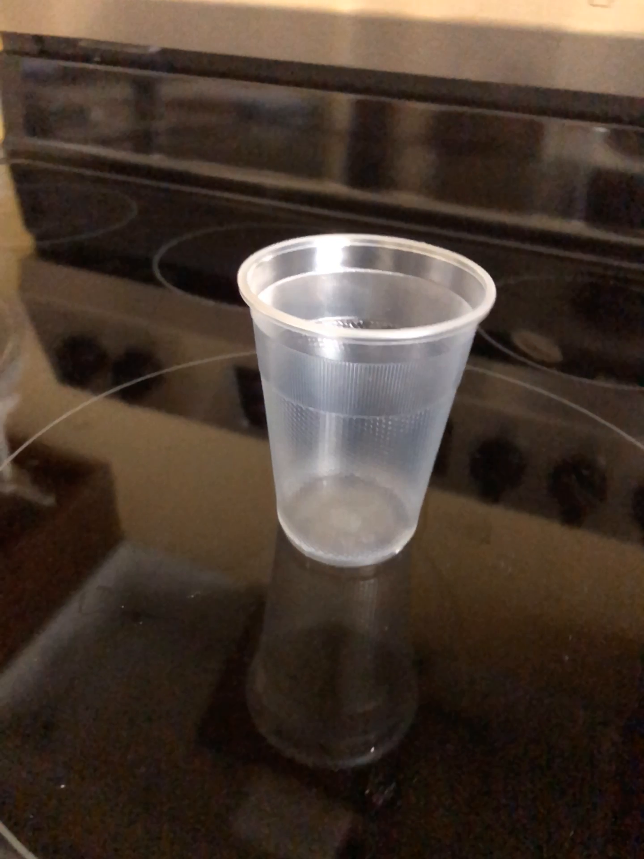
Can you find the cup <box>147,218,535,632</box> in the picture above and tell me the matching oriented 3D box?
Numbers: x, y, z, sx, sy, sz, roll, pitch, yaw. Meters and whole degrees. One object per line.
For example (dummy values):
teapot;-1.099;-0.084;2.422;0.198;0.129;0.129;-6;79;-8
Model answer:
cup;0.007;-0.008;0.222;0.079;0.081;0.081;2;32;-1
